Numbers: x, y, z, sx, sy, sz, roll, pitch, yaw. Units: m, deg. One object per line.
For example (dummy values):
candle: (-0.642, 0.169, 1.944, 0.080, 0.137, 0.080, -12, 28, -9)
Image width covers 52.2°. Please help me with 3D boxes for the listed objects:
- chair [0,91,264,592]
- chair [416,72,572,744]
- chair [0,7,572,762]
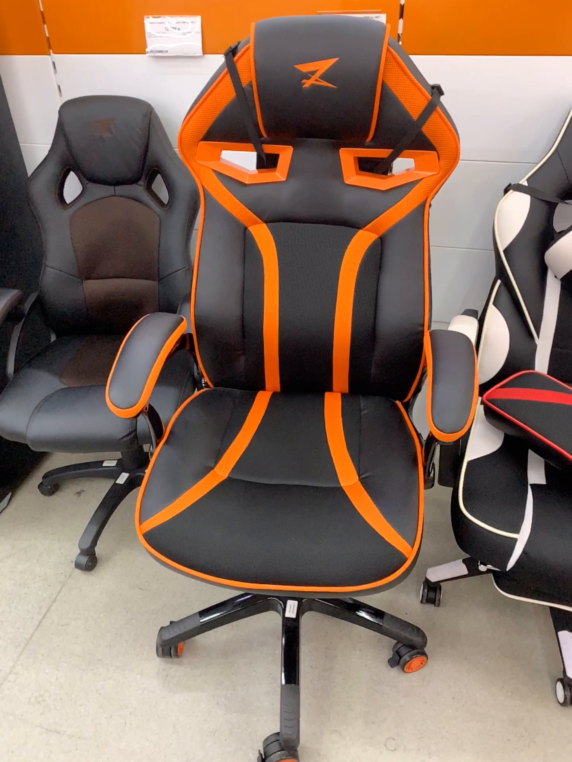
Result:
chair: (-0.568, -0.103, 1.811, 0.820, 1.323, 0.724, 3, 35, 8)
chair: (0.799, 0.041, 1.314, 0.850, 1.193, 0.825, 3, 35, 8)
chair: (-0.001, 0.076, 1.144, 0.720, 1.313, 0.734, 6, 36, 12)
